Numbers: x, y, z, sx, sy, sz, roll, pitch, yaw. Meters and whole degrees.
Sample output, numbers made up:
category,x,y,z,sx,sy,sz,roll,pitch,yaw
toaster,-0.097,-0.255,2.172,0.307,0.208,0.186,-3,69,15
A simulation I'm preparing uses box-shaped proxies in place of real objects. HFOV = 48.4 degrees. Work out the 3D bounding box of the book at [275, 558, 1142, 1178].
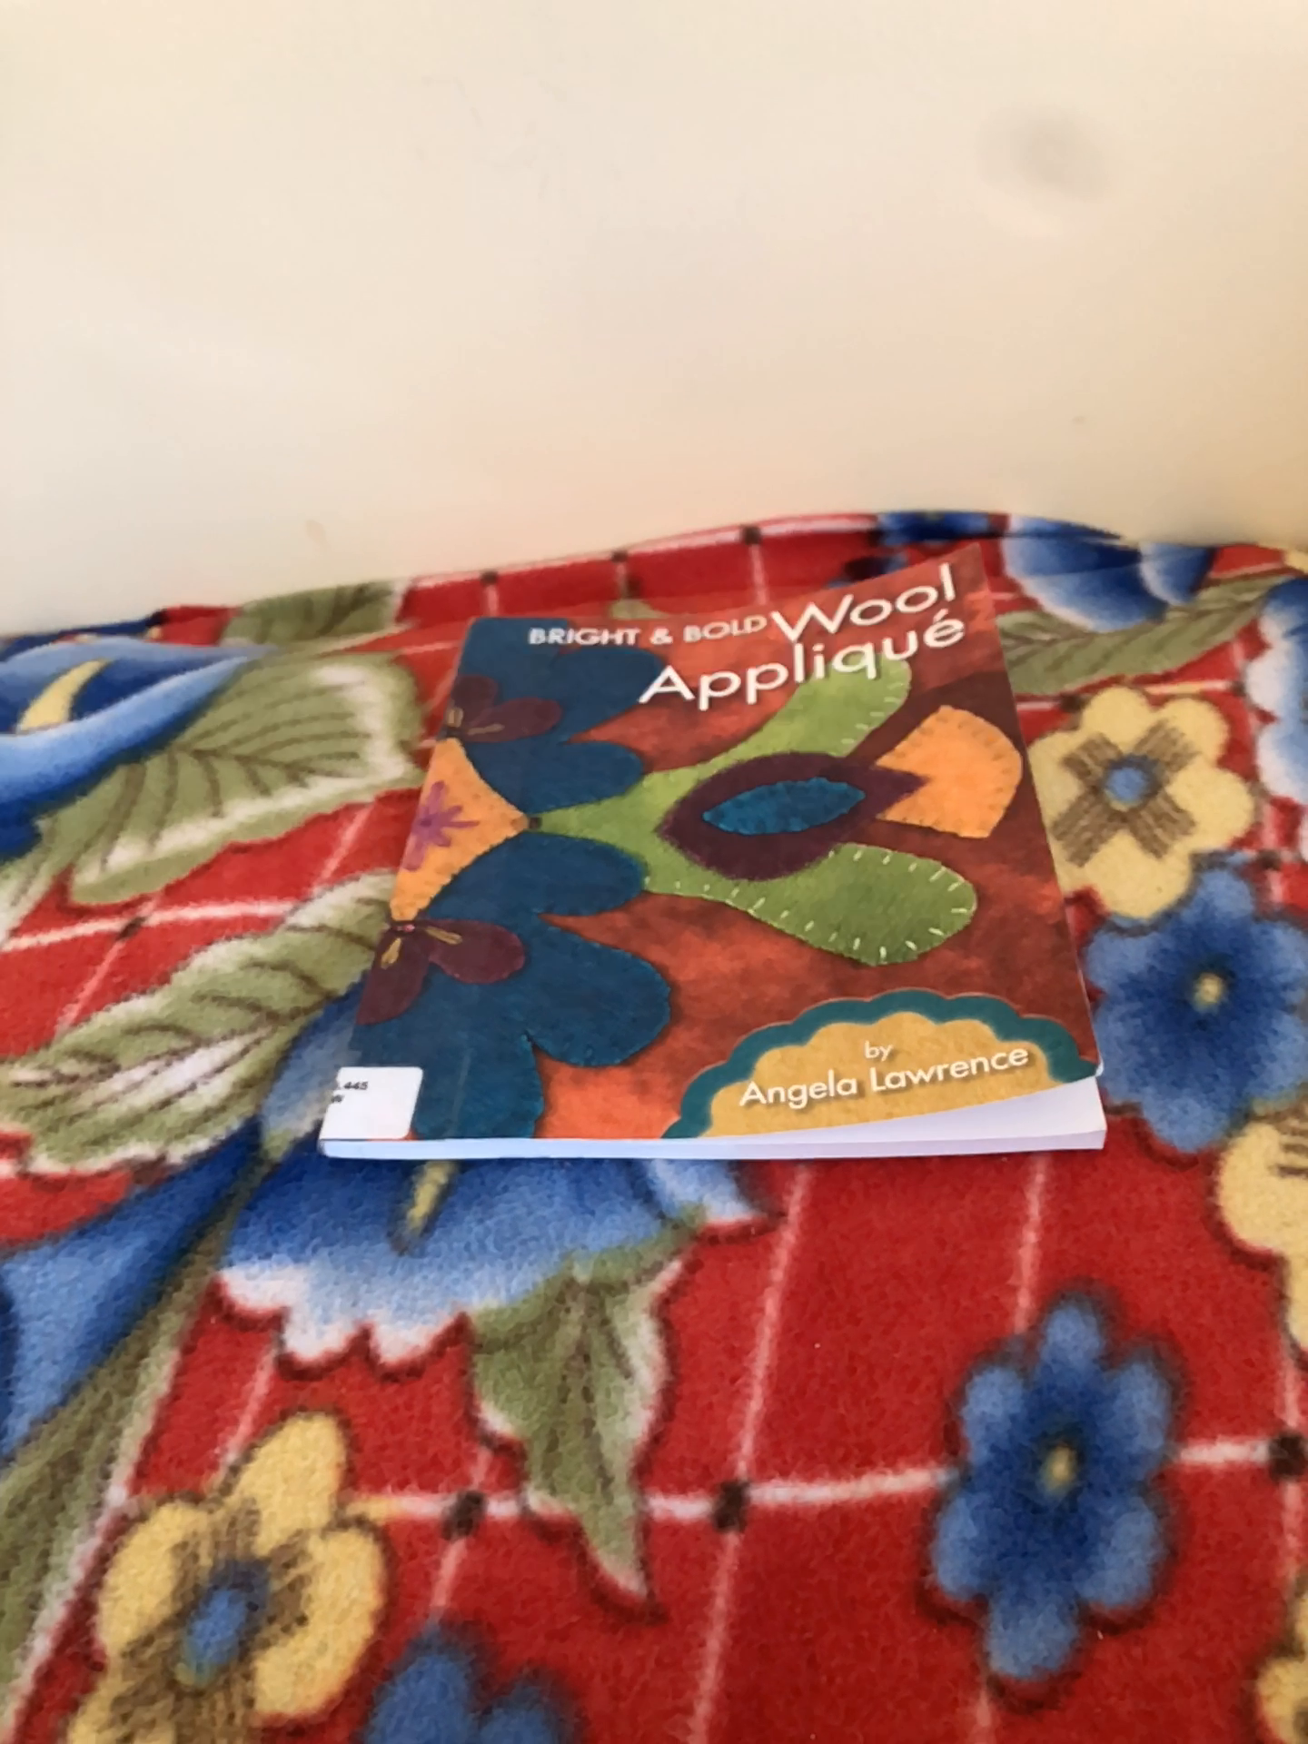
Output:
category,x,y,z,sx,sy,sz,roll,pitch,yaw
book,0.017,-0.019,0.474,0.220,0.020,0.265,-4,41,7
